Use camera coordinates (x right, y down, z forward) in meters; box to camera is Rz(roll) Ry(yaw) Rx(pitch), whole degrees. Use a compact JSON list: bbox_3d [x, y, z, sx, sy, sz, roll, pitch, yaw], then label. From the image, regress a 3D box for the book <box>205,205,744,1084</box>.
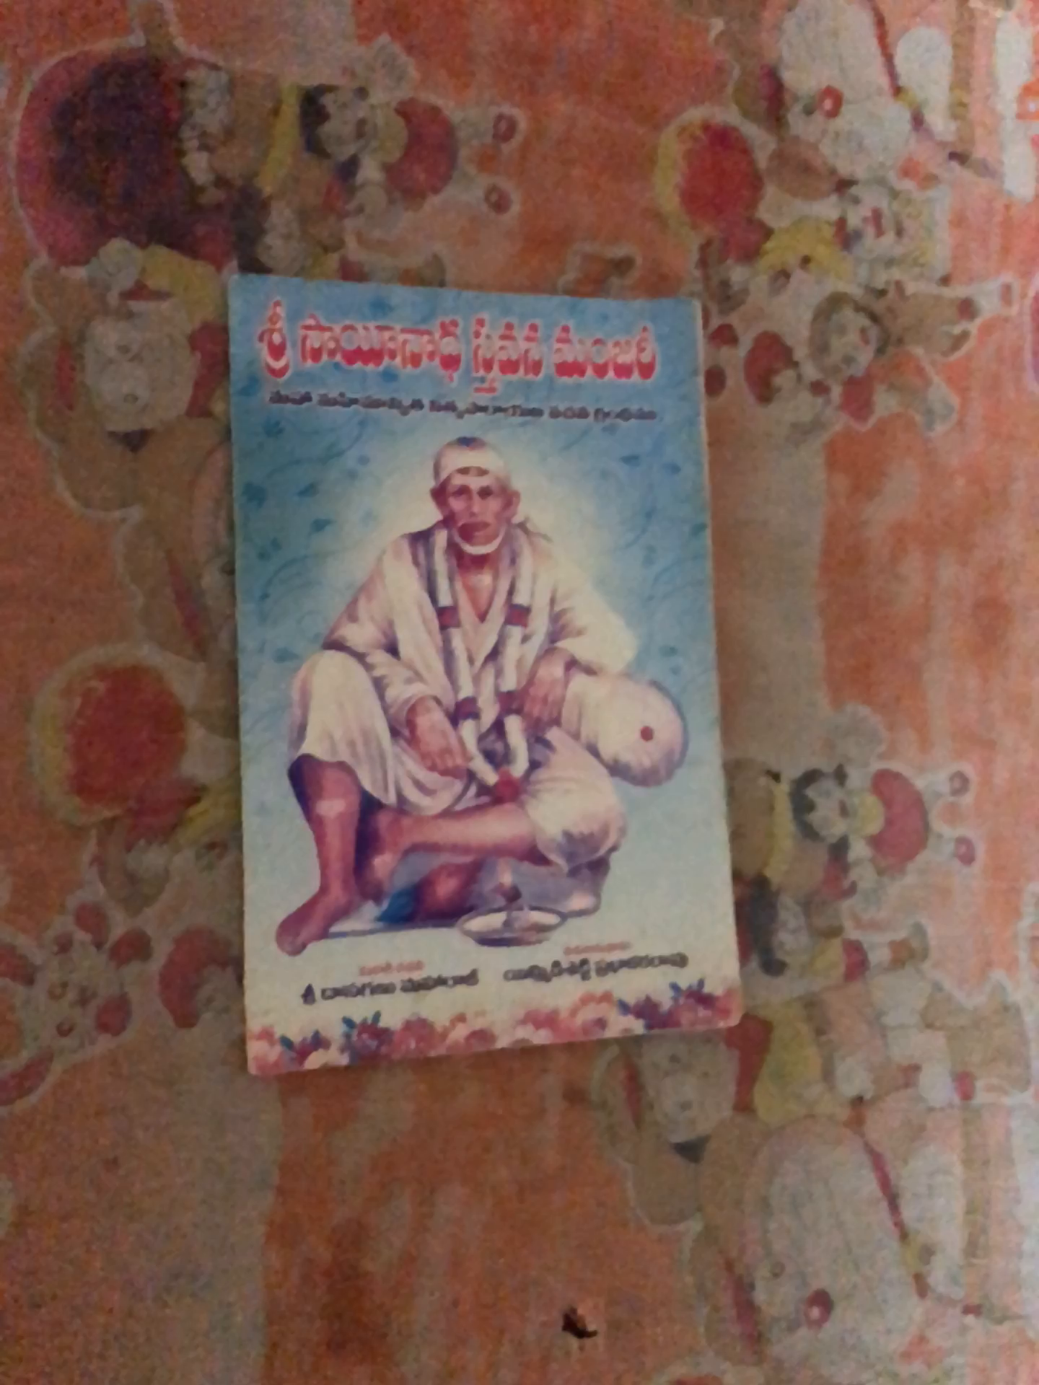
[{"bbox_3d":[-0.012,-0.015,0.319,0.140,0.020,0.220,-1,85,-17],"label":"book"}]
